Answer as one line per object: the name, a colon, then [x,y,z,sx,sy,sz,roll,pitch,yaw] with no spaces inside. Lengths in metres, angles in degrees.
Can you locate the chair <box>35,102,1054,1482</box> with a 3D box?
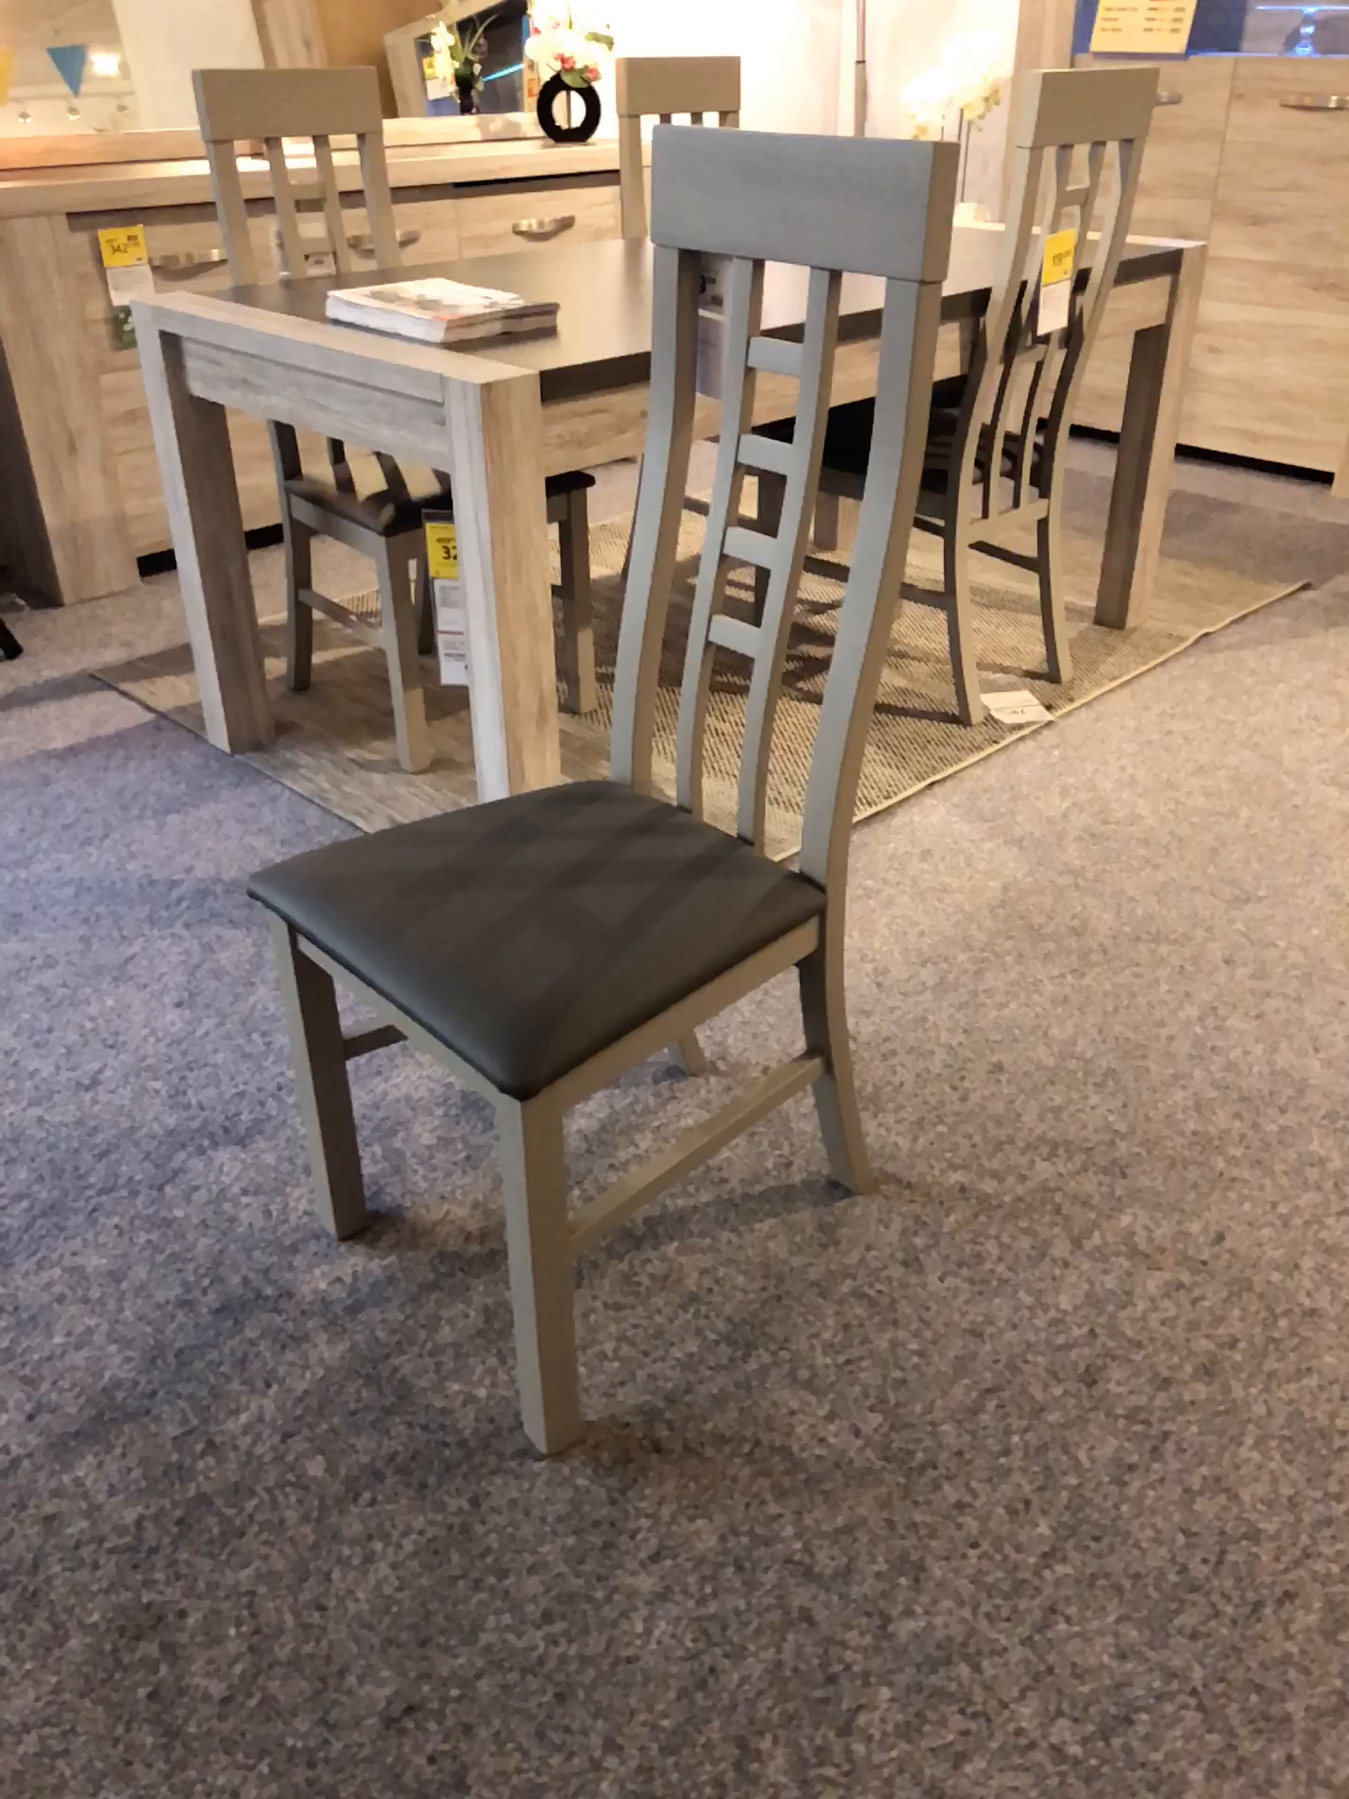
chair: [-0.094,-0.132,1.332,0.553,1.014,0.510,-24,37,-34]
